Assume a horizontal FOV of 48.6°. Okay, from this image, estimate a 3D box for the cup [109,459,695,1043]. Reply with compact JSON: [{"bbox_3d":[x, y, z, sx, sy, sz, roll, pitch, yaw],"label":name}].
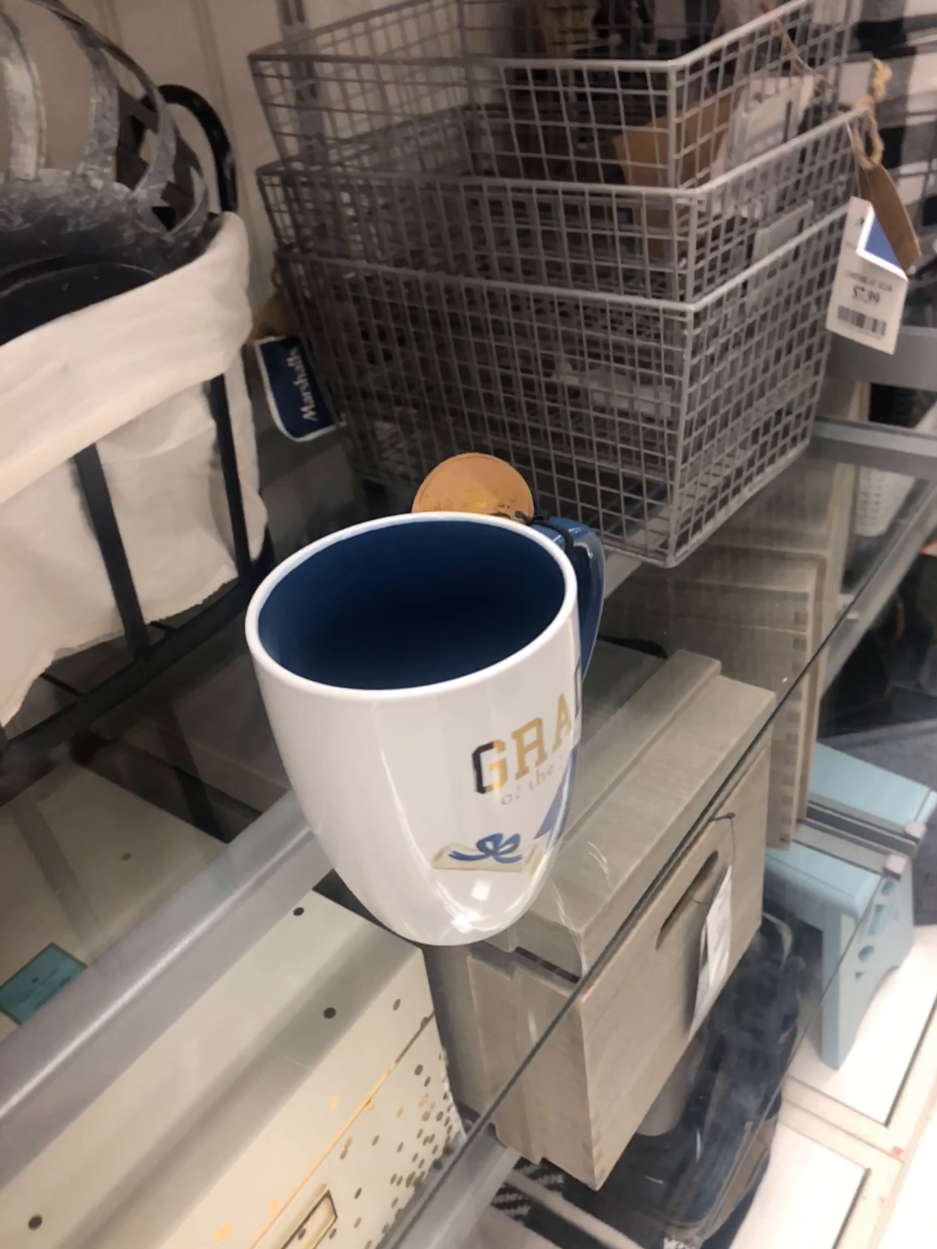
[{"bbox_3d":[-0.012,0.028,0.352,0.116,0.096,0.150,19,42,34],"label":"cup"}]
